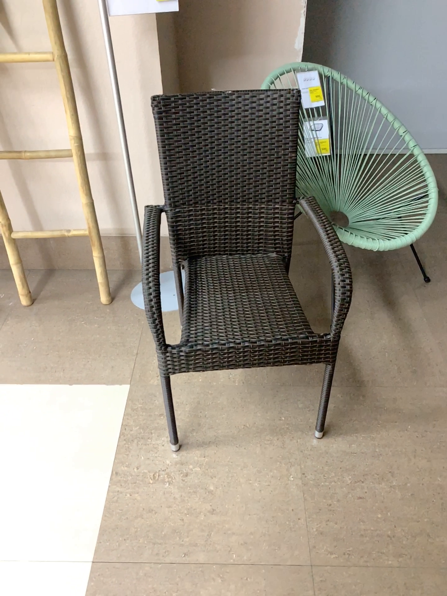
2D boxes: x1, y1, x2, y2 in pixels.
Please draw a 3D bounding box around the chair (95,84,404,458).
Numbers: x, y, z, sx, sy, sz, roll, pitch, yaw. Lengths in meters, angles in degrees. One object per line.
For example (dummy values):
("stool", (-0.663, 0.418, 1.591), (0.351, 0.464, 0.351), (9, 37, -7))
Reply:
("chair", (0.037, -0.072, 1.478), (0.620, 0.955, 0.683), (-4, 41, -3))
